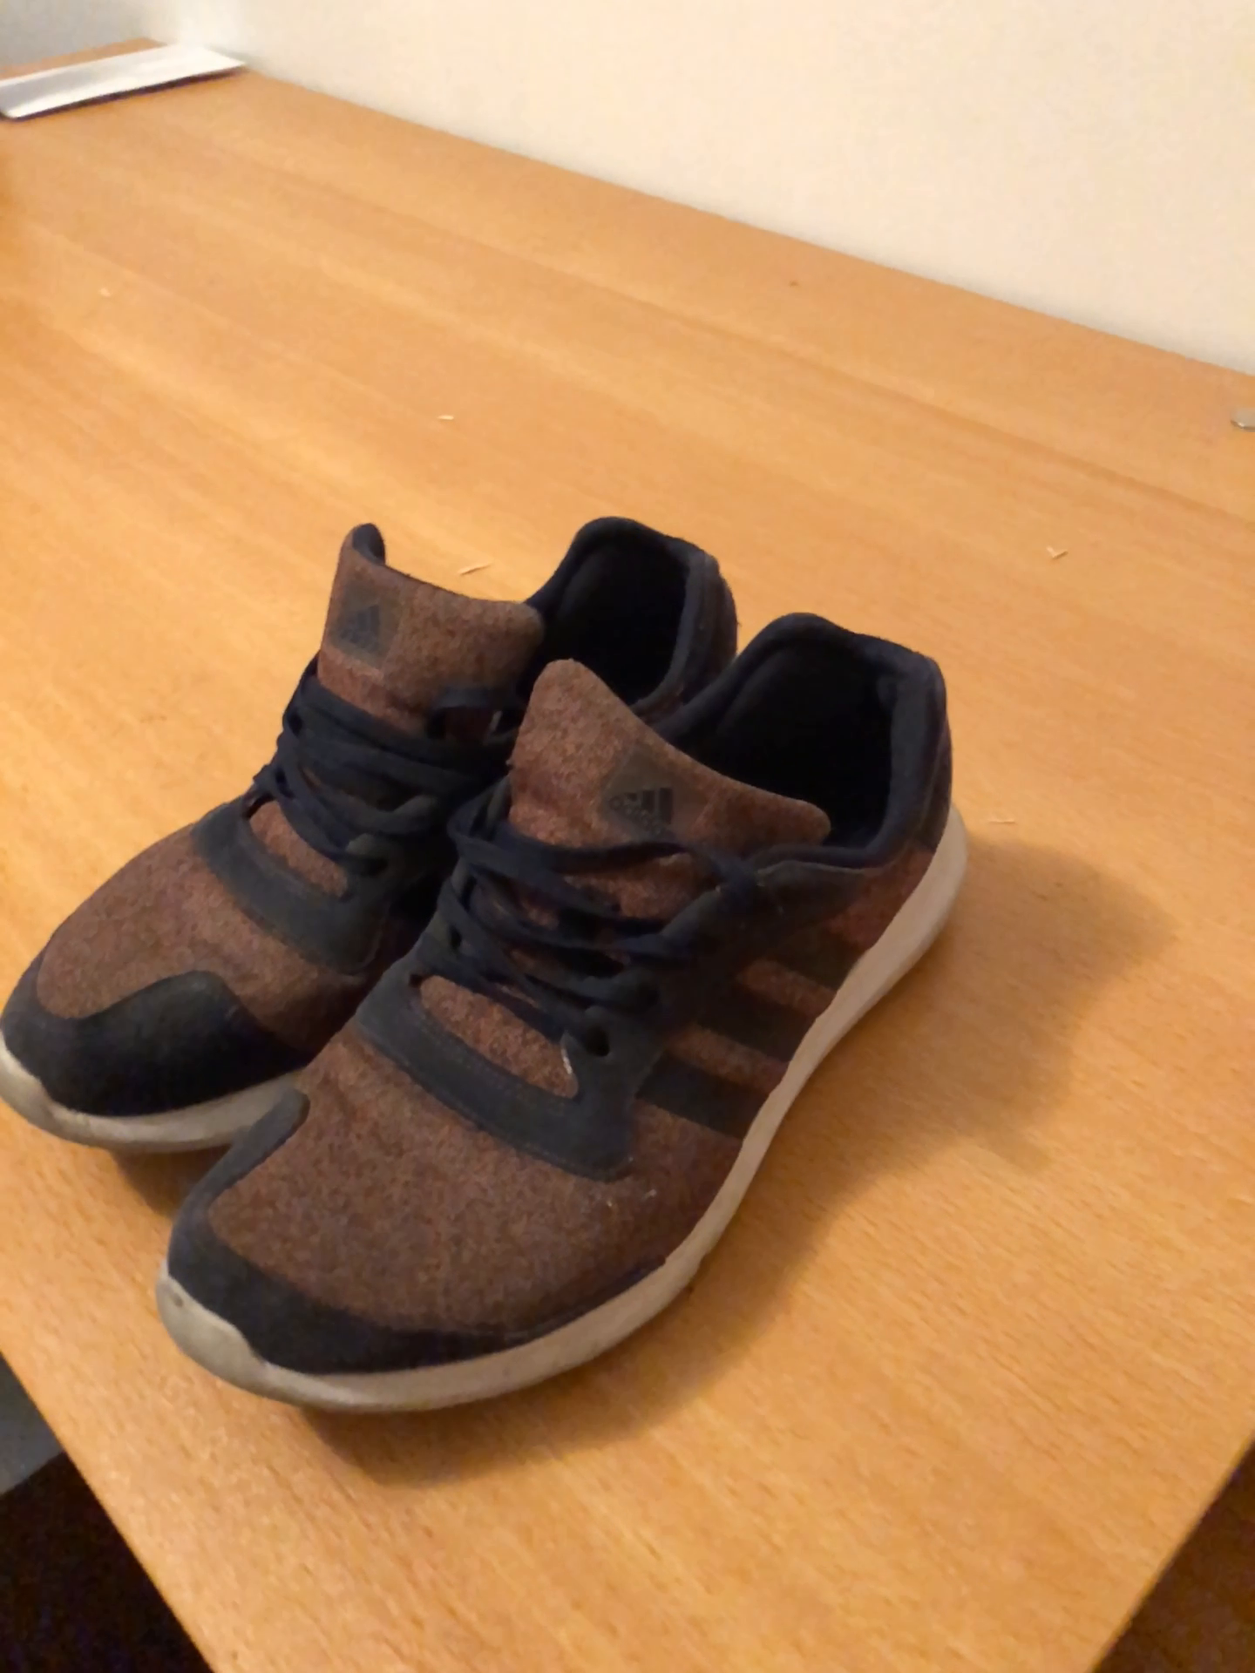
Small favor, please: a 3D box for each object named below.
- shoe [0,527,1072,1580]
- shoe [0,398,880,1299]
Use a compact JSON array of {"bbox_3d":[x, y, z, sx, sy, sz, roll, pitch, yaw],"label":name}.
[{"bbox_3d":[-0.009,0.031,0.360,0.110,0.099,0.261,31,51,32],"label":"shoe"},{"bbox_3d":[-0.069,-0.024,0.441,0.131,0.099,0.311,31,51,32],"label":"shoe"}]
